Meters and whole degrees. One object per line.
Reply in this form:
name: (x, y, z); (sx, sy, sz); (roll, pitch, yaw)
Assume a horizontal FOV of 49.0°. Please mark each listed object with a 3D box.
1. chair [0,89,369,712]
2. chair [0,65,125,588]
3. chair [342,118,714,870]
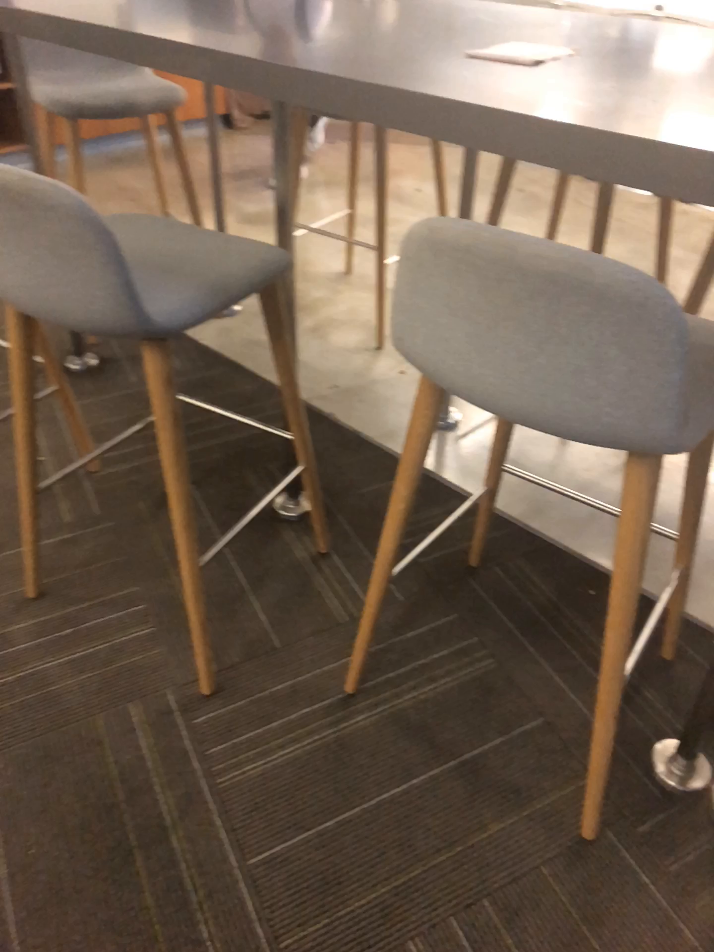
chair: (-0.374, -0.160, 1.527); (0.571, 0.942, 0.544); (22, 41, 26)
chair: (-1.014, -0.356, 1.808); (0.571, 0.942, 0.544); (22, 41, 26)
chair: (0.355, 0.029, 1.343); (0.541, 1.031, 0.544); (25, 42, 29)
